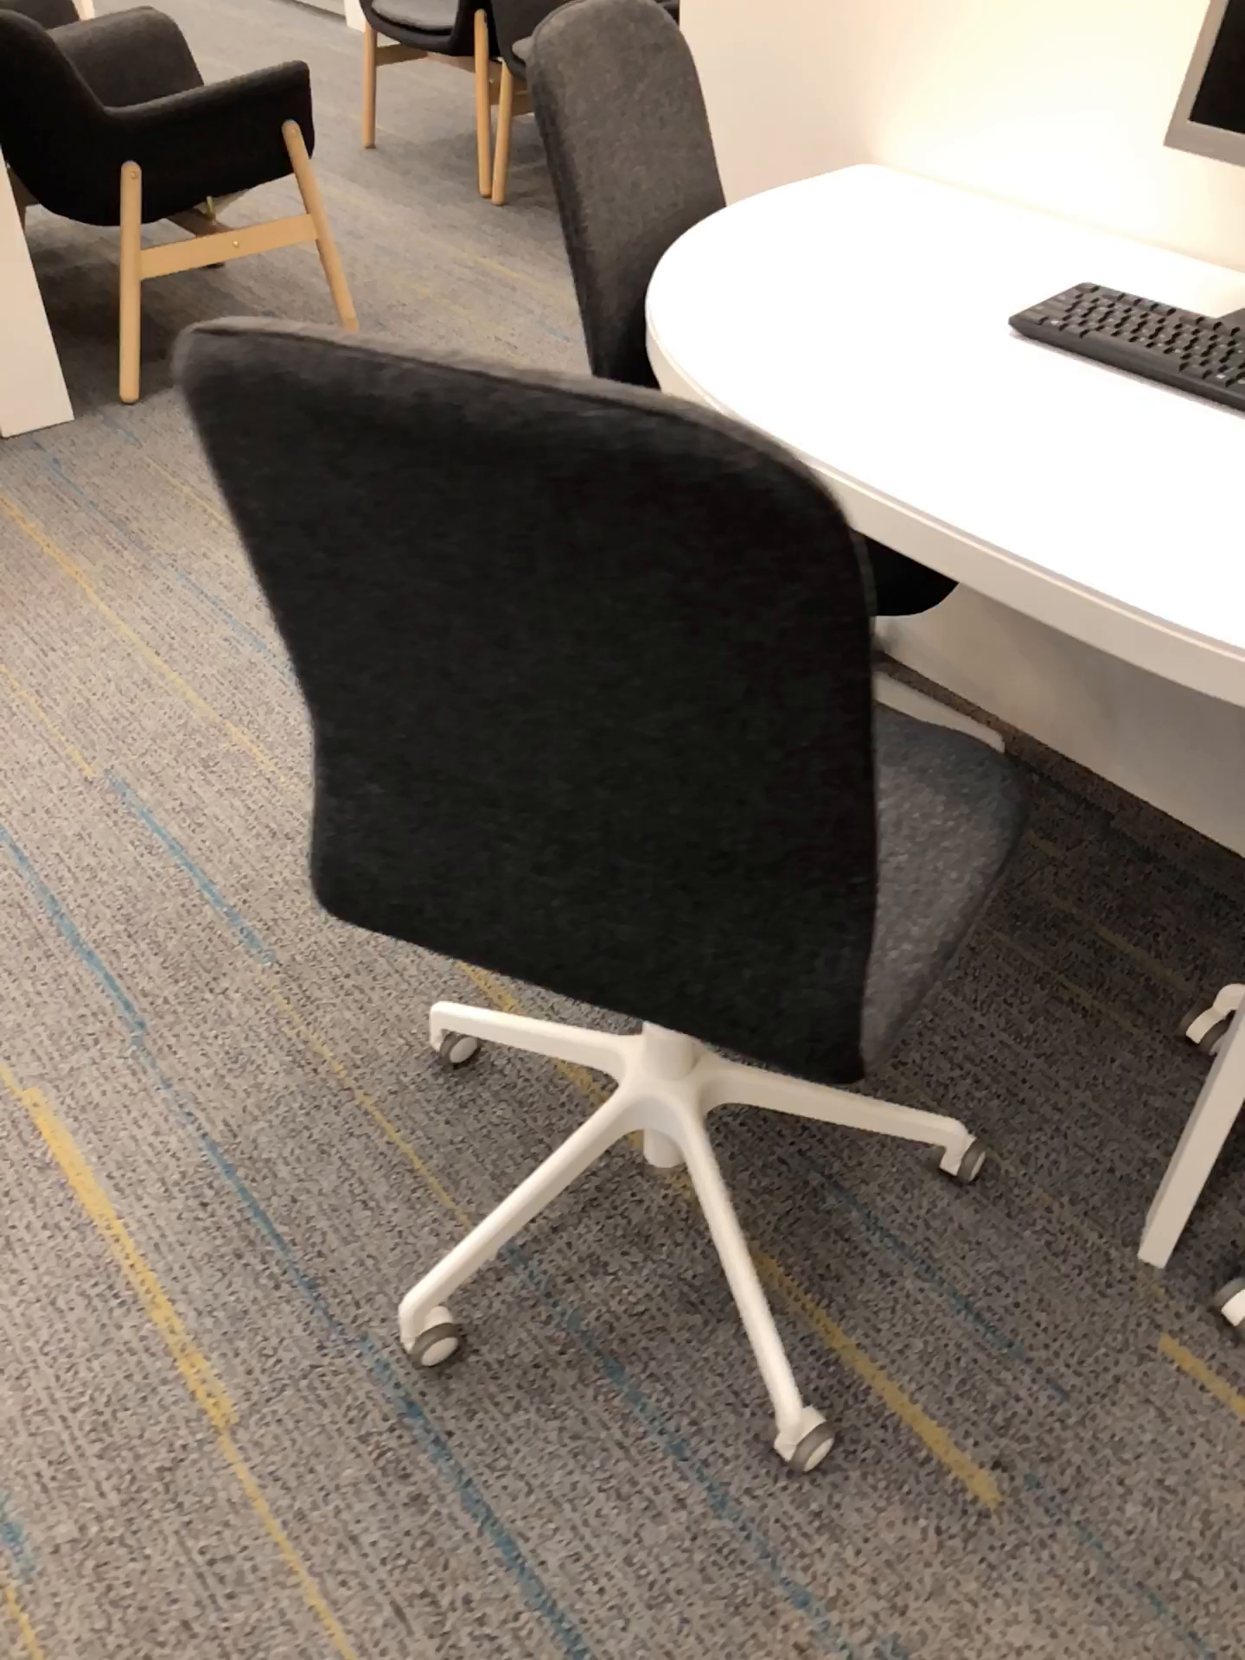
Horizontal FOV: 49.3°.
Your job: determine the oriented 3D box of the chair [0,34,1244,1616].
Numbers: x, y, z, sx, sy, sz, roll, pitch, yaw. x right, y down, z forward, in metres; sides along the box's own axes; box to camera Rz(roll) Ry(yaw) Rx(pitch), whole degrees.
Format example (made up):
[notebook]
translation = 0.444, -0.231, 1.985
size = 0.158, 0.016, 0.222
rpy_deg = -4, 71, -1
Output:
[chair]
translation = 0.028, -0.003, 1.122
size = 0.631, 0.993, 0.633
rpy_deg = 18, 44, 20
